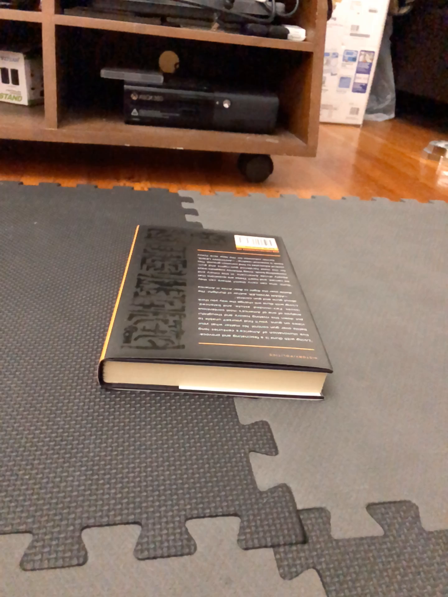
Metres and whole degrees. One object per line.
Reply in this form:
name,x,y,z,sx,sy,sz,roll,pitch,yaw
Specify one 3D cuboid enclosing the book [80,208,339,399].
book,-0.015,-0.015,0.448,0.170,0.040,0.261,4,29,-5
